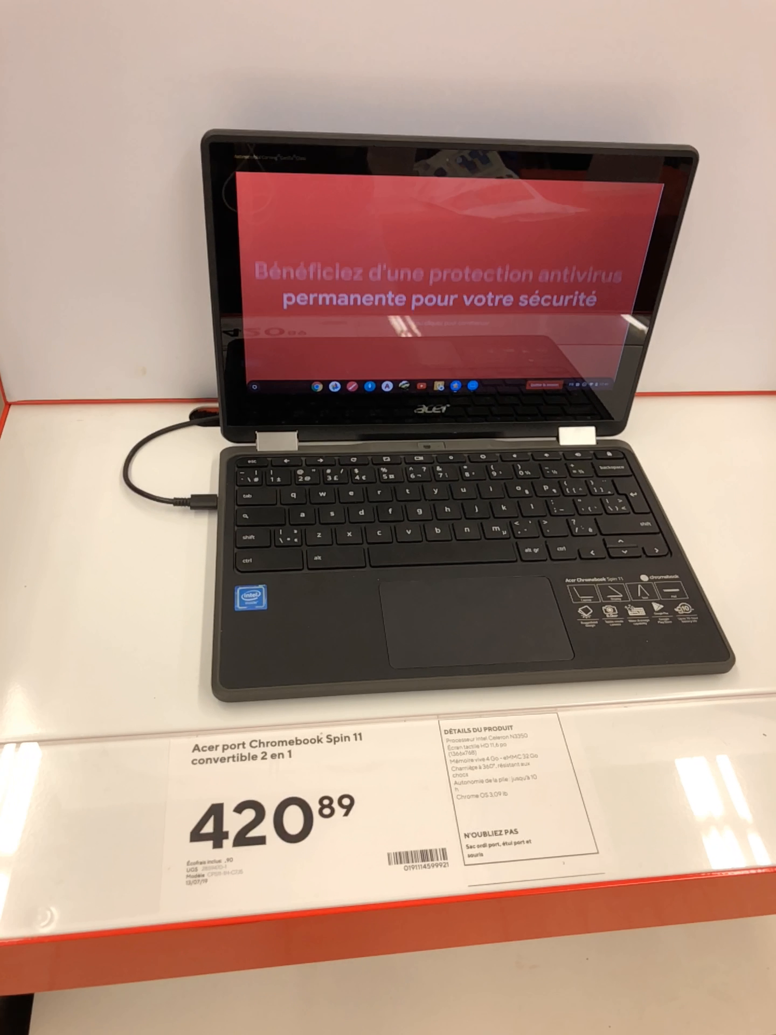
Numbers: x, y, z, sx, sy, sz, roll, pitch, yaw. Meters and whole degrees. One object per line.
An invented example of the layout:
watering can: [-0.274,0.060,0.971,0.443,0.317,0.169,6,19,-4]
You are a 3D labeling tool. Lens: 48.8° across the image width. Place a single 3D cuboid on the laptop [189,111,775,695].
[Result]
laptop: [0.044,-0.073,0.493,0.289,0.198,0.253,-2,47,-8]
